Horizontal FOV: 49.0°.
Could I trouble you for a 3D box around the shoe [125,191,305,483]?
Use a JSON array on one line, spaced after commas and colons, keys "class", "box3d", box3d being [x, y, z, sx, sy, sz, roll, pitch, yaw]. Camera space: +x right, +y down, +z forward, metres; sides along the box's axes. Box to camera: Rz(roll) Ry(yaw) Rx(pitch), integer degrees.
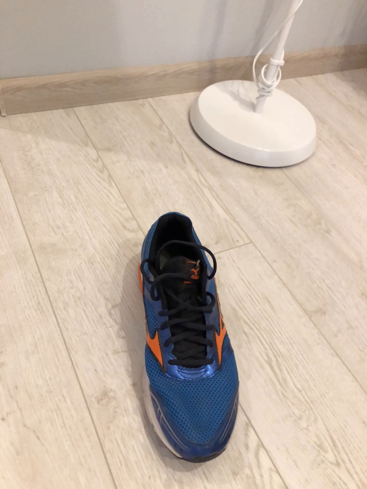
[{"class": "shoe", "box3d": [0.009, 0.084, 0.469, 0.116, 0.119, 0.302, -2, 50, -15]}]
